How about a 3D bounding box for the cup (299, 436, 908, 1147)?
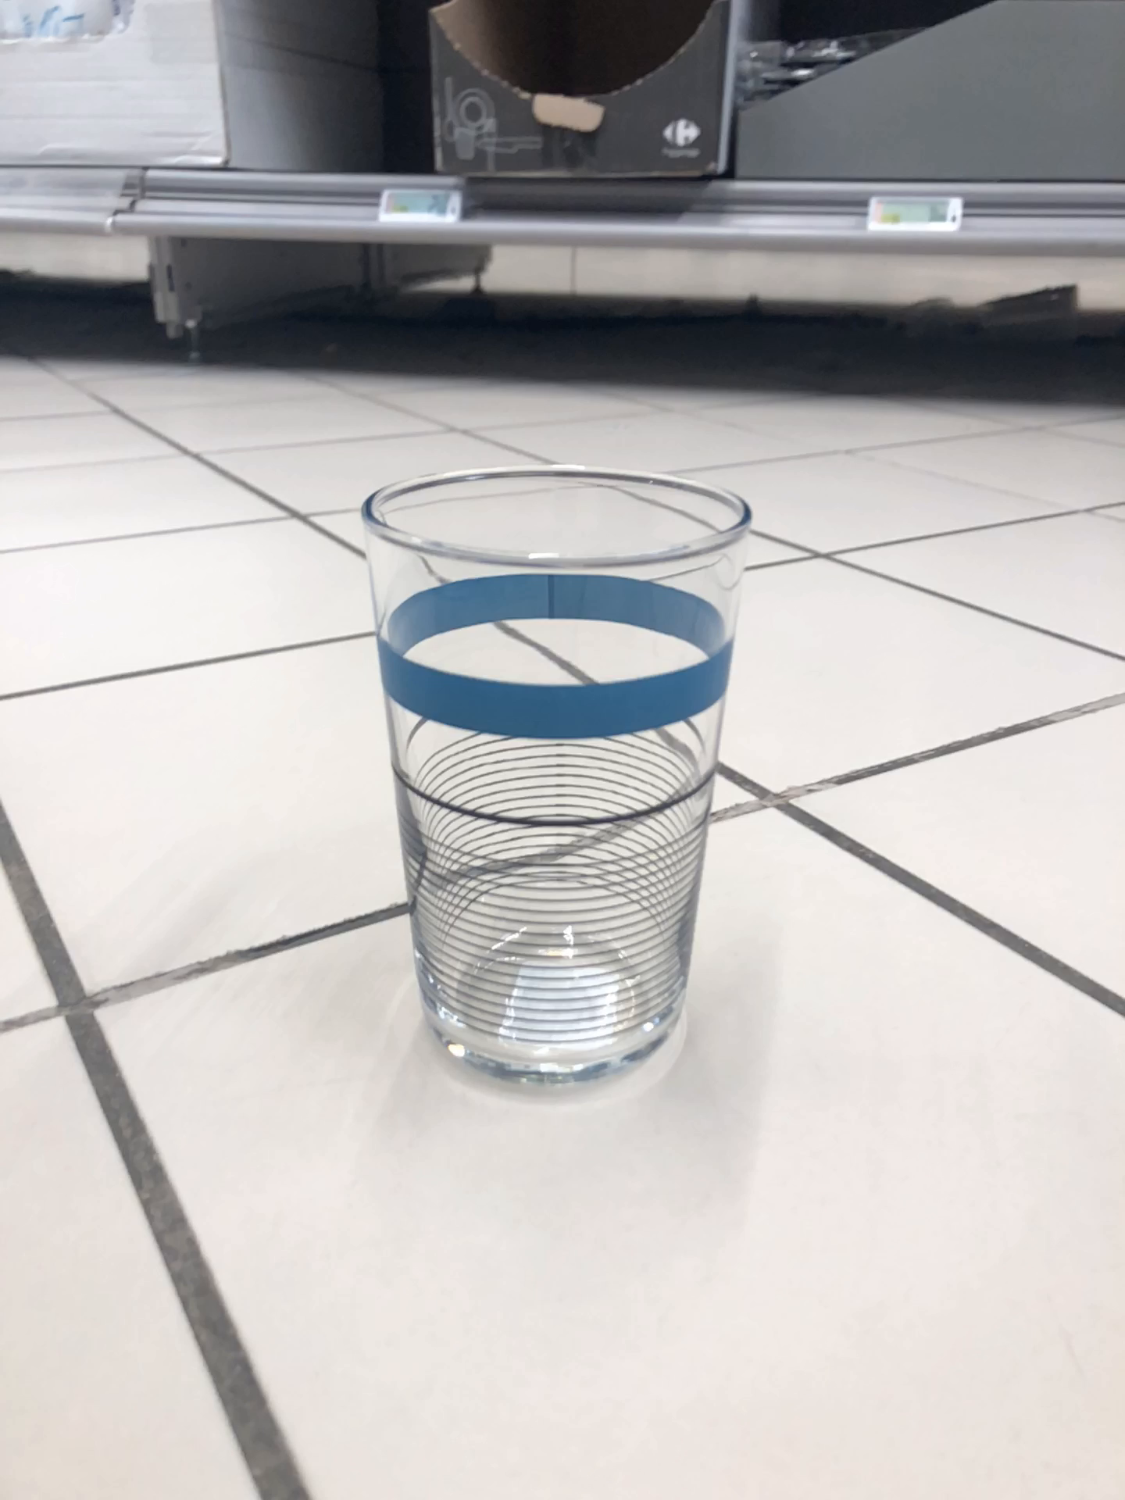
[{"bbox_3d":[0.004,-0.001,0.243,0.080,0.102,0.079,0,23,0],"label":"cup"}]
